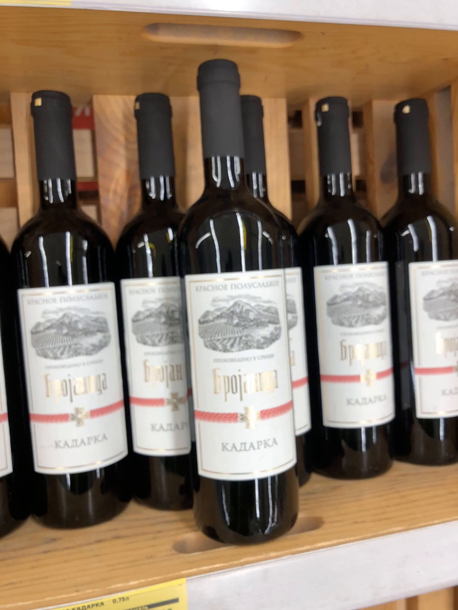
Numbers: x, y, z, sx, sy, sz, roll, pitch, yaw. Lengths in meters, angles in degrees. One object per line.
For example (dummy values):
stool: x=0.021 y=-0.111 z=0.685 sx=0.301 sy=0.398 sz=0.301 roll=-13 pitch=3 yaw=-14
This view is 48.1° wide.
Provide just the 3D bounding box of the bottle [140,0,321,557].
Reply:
bottle: x=-0.003 y=-0.015 z=0.331 sx=0.080 sy=0.080 sz=0.309 roll=-5 pitch=94 yaw=-13
